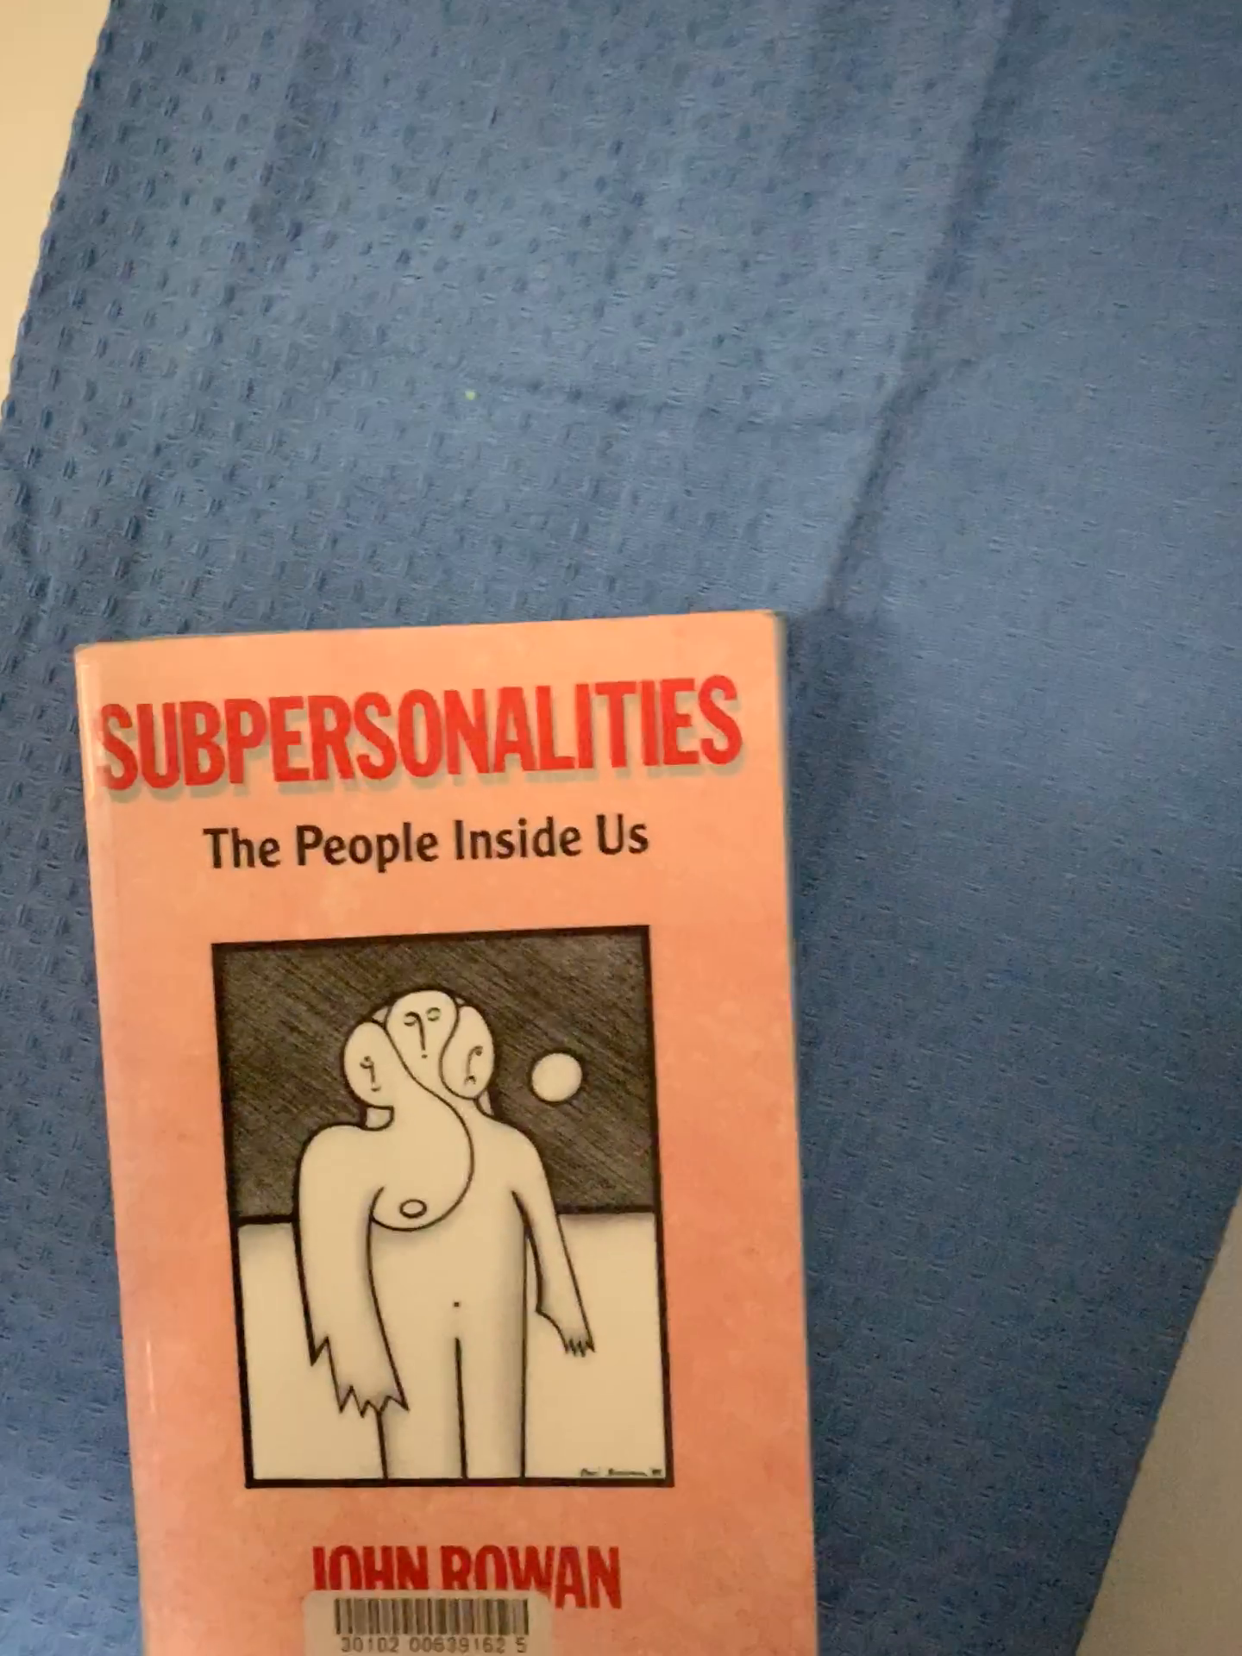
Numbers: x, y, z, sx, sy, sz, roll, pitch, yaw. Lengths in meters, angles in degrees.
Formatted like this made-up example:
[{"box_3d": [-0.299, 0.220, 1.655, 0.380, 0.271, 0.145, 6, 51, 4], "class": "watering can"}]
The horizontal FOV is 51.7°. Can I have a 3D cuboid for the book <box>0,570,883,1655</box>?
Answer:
[{"box_3d": [-0.033, 0.070, 0.264, 0.160, 0.040, 0.230, -2, 93, 4], "class": "book"}]
